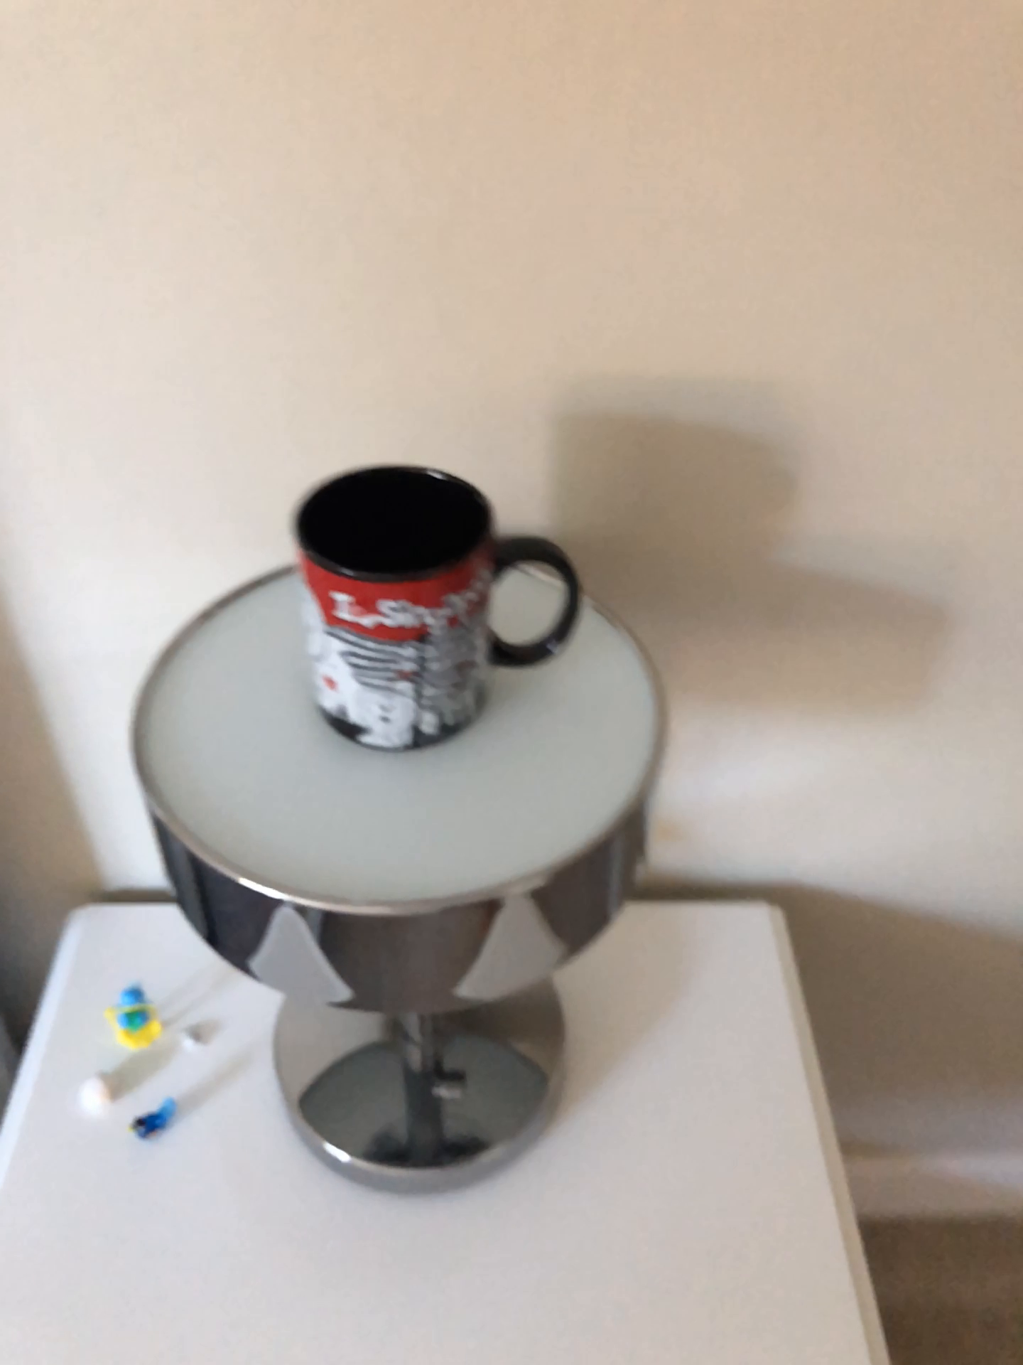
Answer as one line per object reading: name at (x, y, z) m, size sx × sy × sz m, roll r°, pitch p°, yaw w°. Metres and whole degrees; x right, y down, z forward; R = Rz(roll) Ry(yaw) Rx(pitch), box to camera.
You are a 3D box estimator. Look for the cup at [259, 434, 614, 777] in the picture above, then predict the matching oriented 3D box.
cup at (-0.035, -0.035, 0.503) m, size 0.130 × 0.100 × 0.090 m, roll -8°, pitch 43°, yaw -11°
